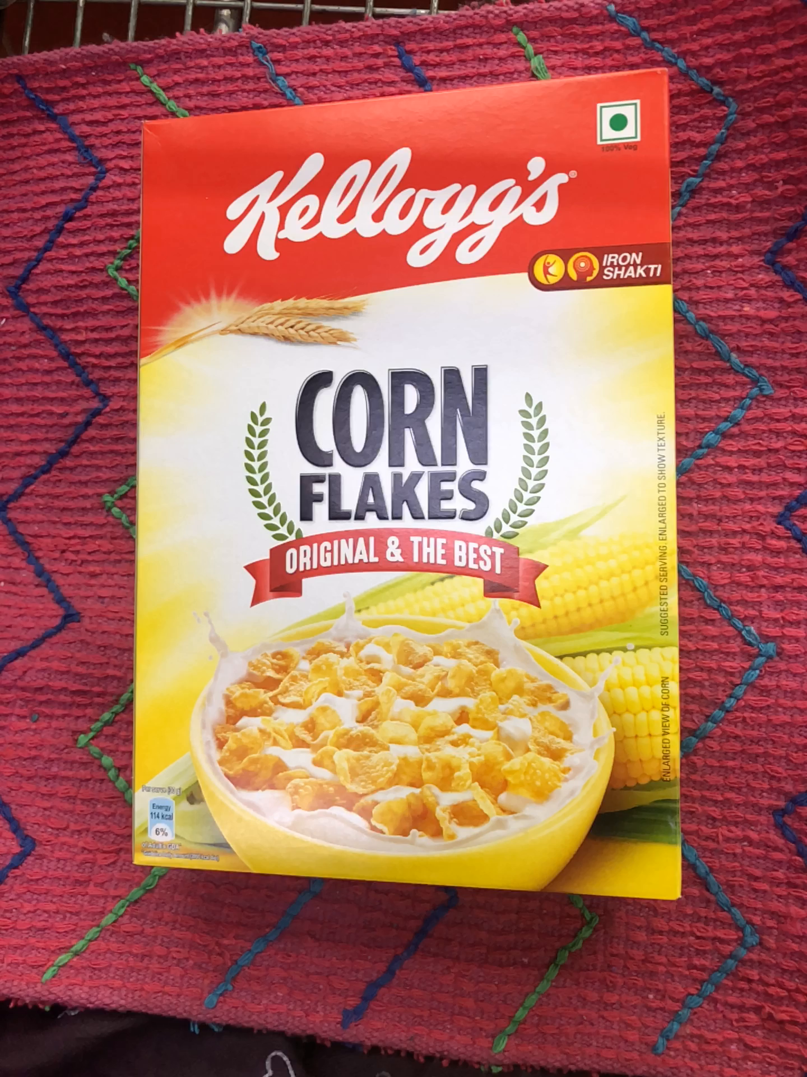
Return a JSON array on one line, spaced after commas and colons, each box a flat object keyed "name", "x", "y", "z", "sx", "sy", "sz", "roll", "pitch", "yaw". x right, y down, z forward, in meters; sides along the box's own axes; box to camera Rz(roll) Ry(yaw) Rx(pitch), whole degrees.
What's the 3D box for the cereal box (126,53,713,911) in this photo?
[{"name": "cereal box", "x": 0.005, "y": -0.017, "z": 0.324, "sx": 0.190, "sy": 0.070, "sz": 0.260, "roll": -1, "pitch": 88, "yaw": 11}]
